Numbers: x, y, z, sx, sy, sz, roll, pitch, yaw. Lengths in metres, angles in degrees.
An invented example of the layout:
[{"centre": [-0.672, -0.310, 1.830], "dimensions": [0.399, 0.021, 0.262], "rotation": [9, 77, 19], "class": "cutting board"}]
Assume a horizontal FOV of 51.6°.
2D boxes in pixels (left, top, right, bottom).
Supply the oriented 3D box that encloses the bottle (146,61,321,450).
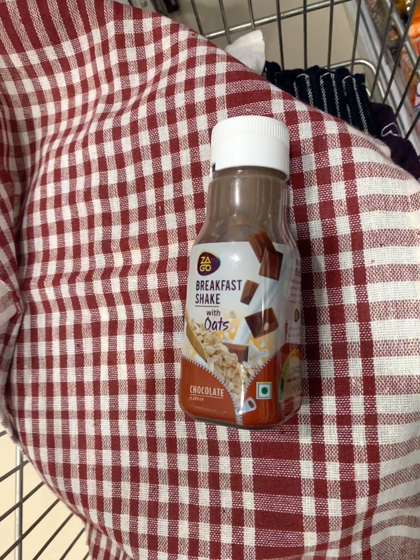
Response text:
[{"centre": [0.013, -0.010, 0.203], "dimensions": [0.060, 0.050, 0.150], "rotation": [3, 90, 24], "class": "bottle"}]
